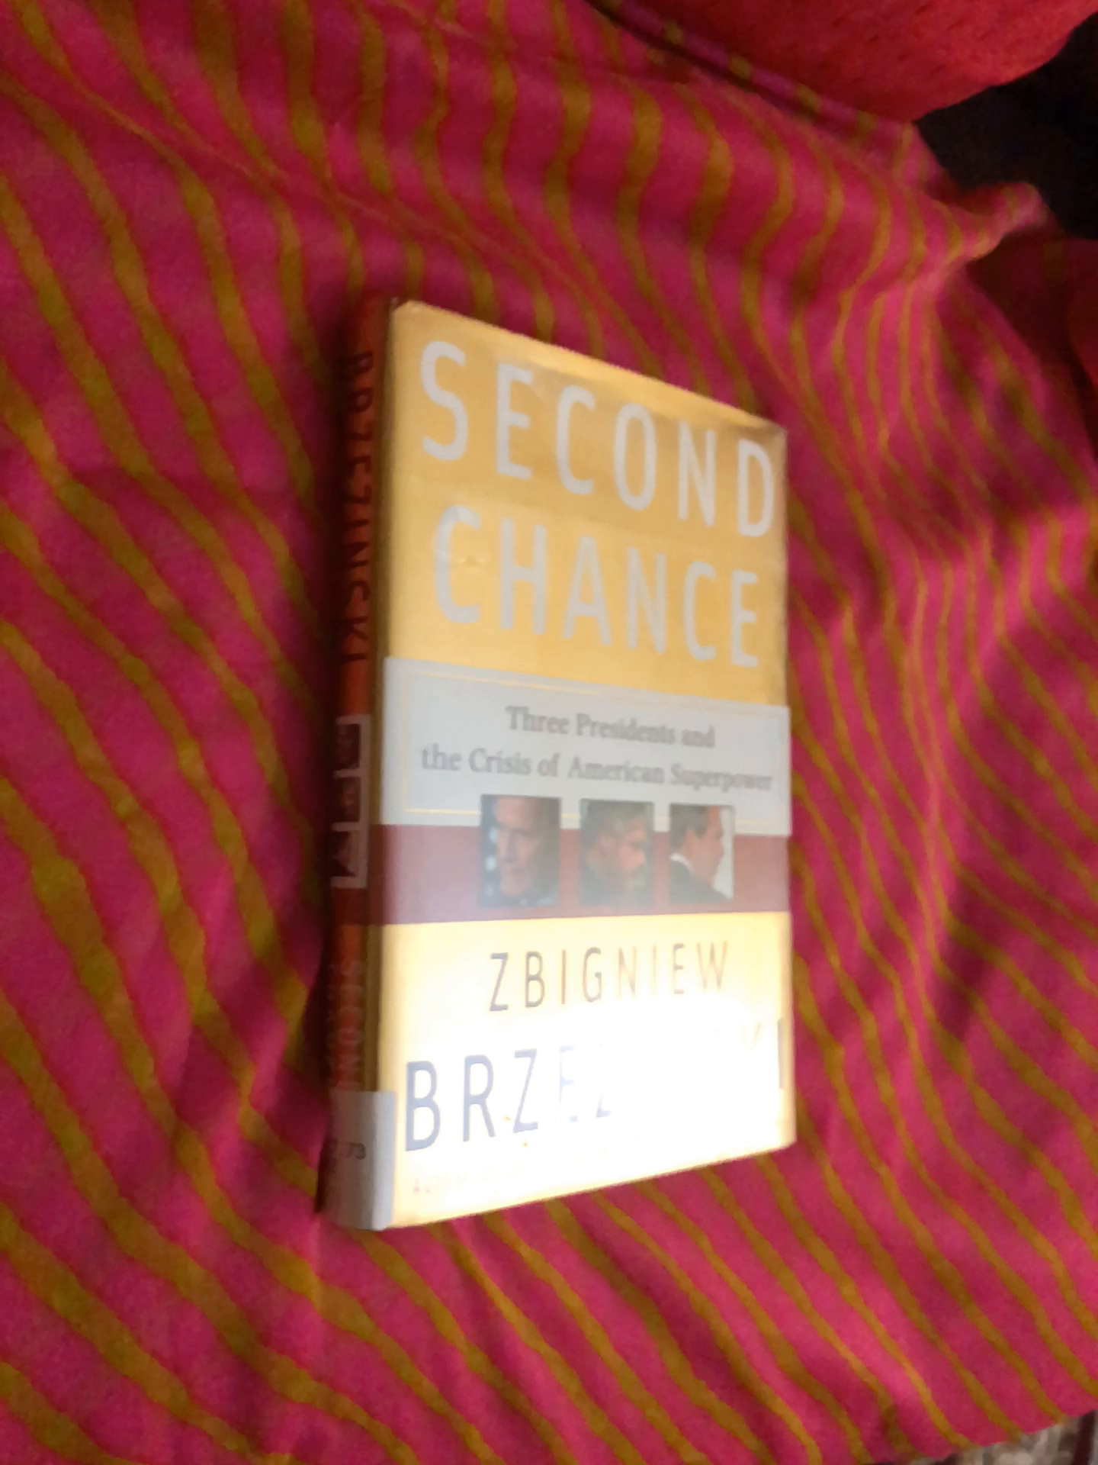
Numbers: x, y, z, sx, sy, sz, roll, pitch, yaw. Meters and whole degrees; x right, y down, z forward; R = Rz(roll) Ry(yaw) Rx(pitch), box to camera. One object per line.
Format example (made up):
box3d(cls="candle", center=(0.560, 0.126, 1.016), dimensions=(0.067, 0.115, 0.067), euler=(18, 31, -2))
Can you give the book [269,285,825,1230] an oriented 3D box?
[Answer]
box3d(cls="book", center=(0.007, 0.008, 0.314), dimensions=(0.141, 0.037, 0.200), euler=(5, 84, -34))
